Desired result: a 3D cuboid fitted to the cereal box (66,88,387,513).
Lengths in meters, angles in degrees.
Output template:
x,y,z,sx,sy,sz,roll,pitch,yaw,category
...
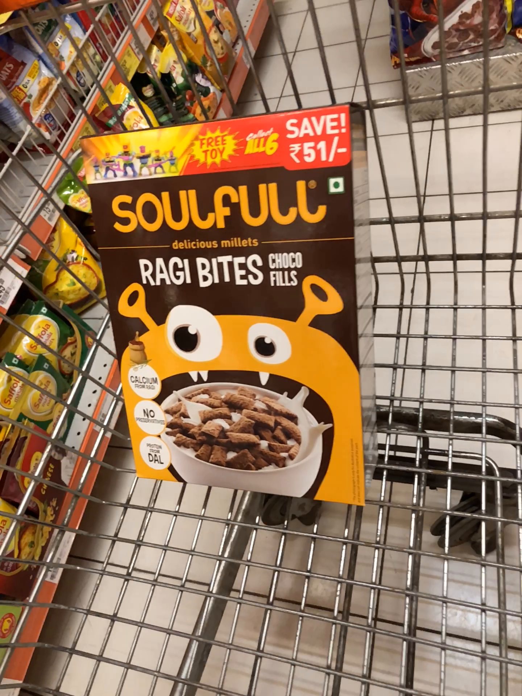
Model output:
x,y,z,sx,sy,sz,roll,pitch,yaw,category
-0.016,-0.029,0.410,0.190,0.259,0.070,2,19,23,cereal box
